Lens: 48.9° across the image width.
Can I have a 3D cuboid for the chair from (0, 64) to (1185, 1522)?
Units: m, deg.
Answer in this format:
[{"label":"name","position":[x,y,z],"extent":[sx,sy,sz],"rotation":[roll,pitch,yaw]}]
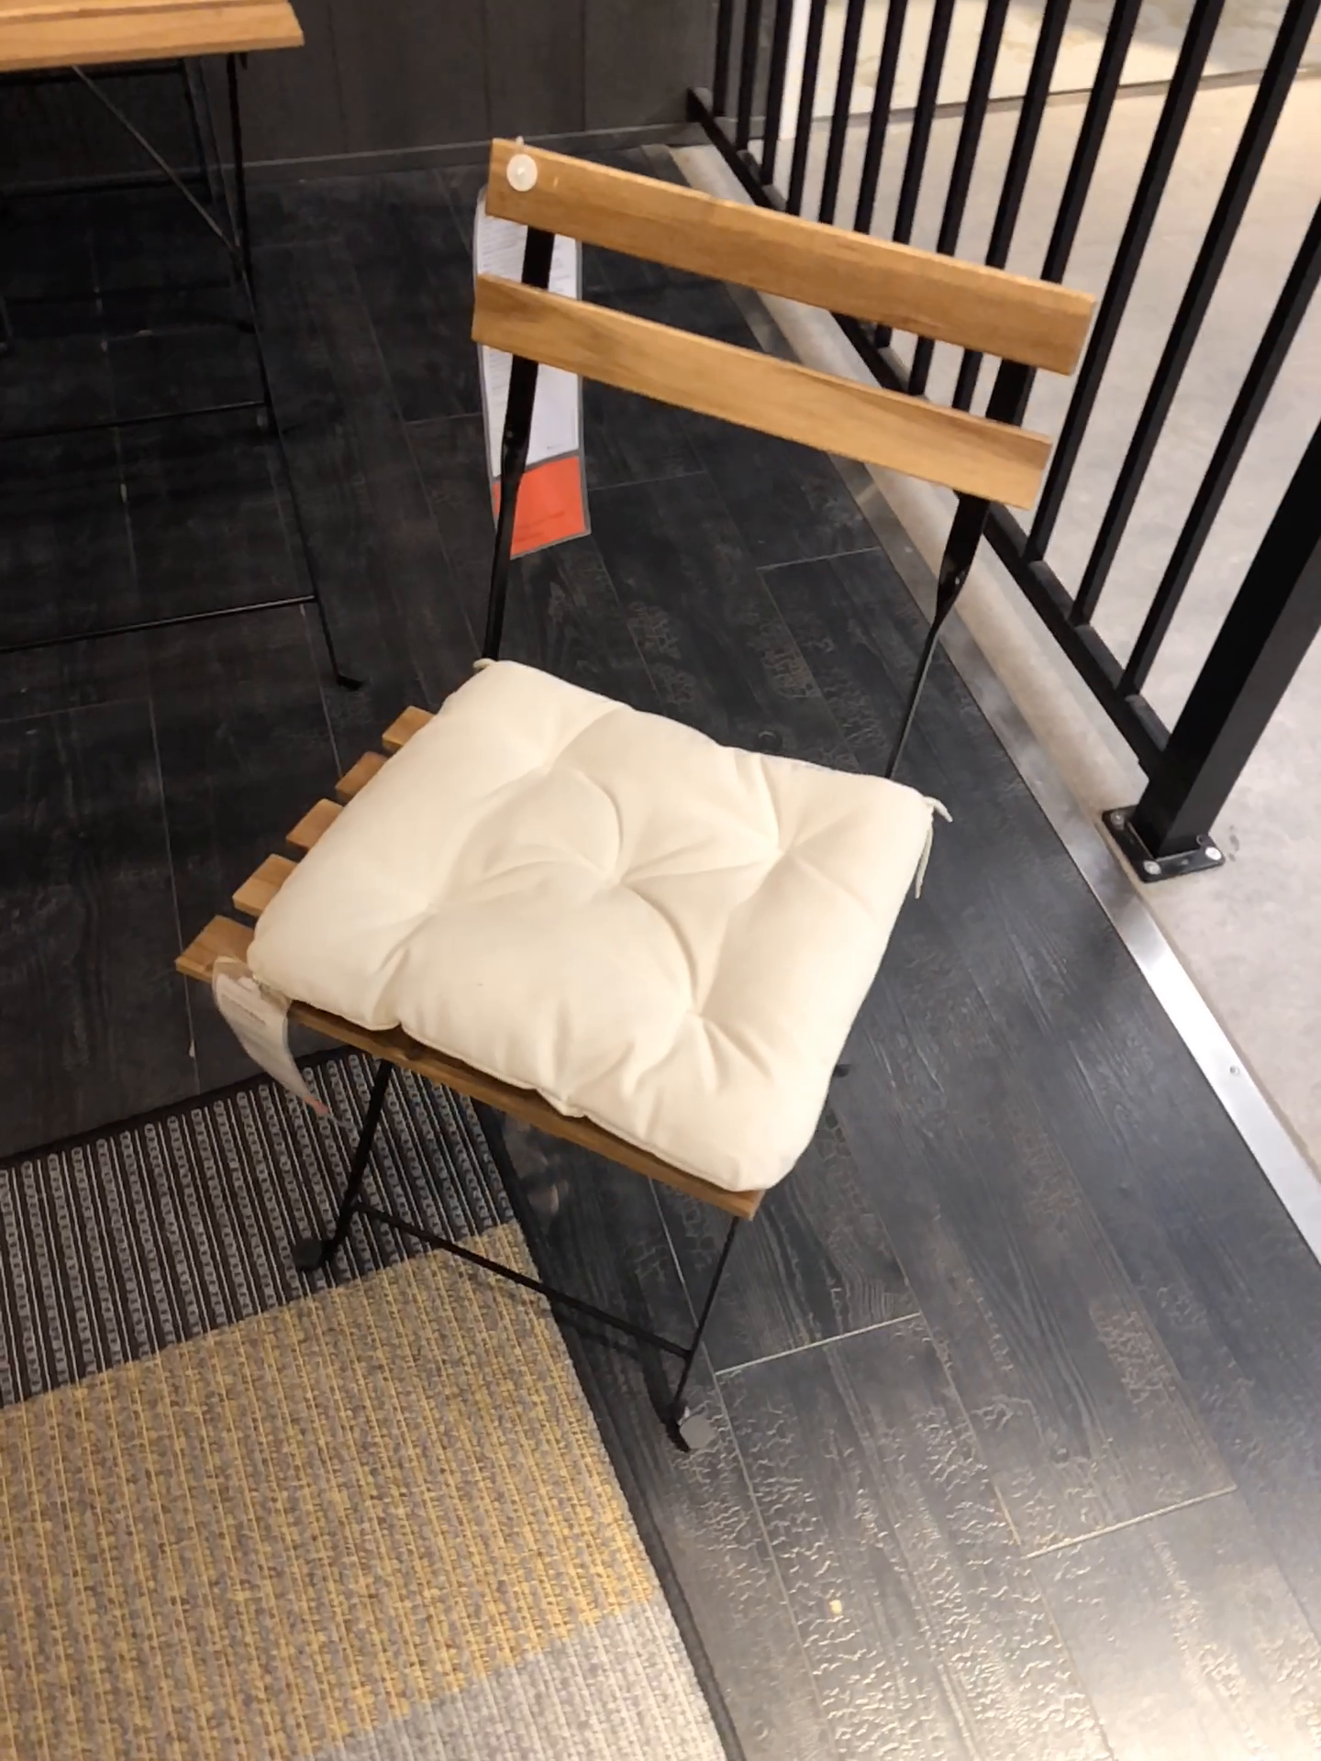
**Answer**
[{"label":"chair","position":[-0.045,-0.004,0.963],"extent":[0.450,0.757,0.461],"rotation":[21,53,13]}]
